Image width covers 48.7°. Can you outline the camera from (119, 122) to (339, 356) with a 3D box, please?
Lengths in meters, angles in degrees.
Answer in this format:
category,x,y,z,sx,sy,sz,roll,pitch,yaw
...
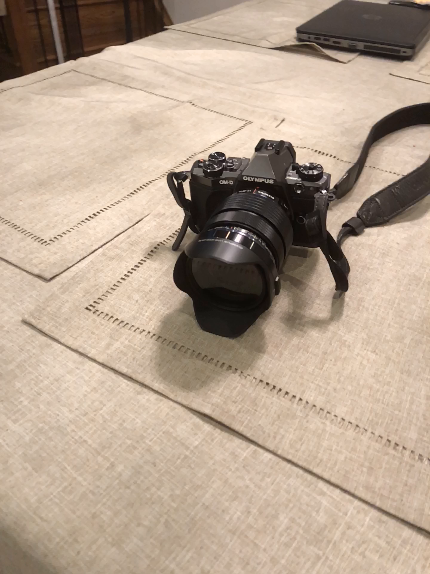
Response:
category,x,y,z,sx,sy,sz,roll,pitch,yaw
camera,0.020,-0.049,0.379,0.124,0.092,0.165,12,40,11
